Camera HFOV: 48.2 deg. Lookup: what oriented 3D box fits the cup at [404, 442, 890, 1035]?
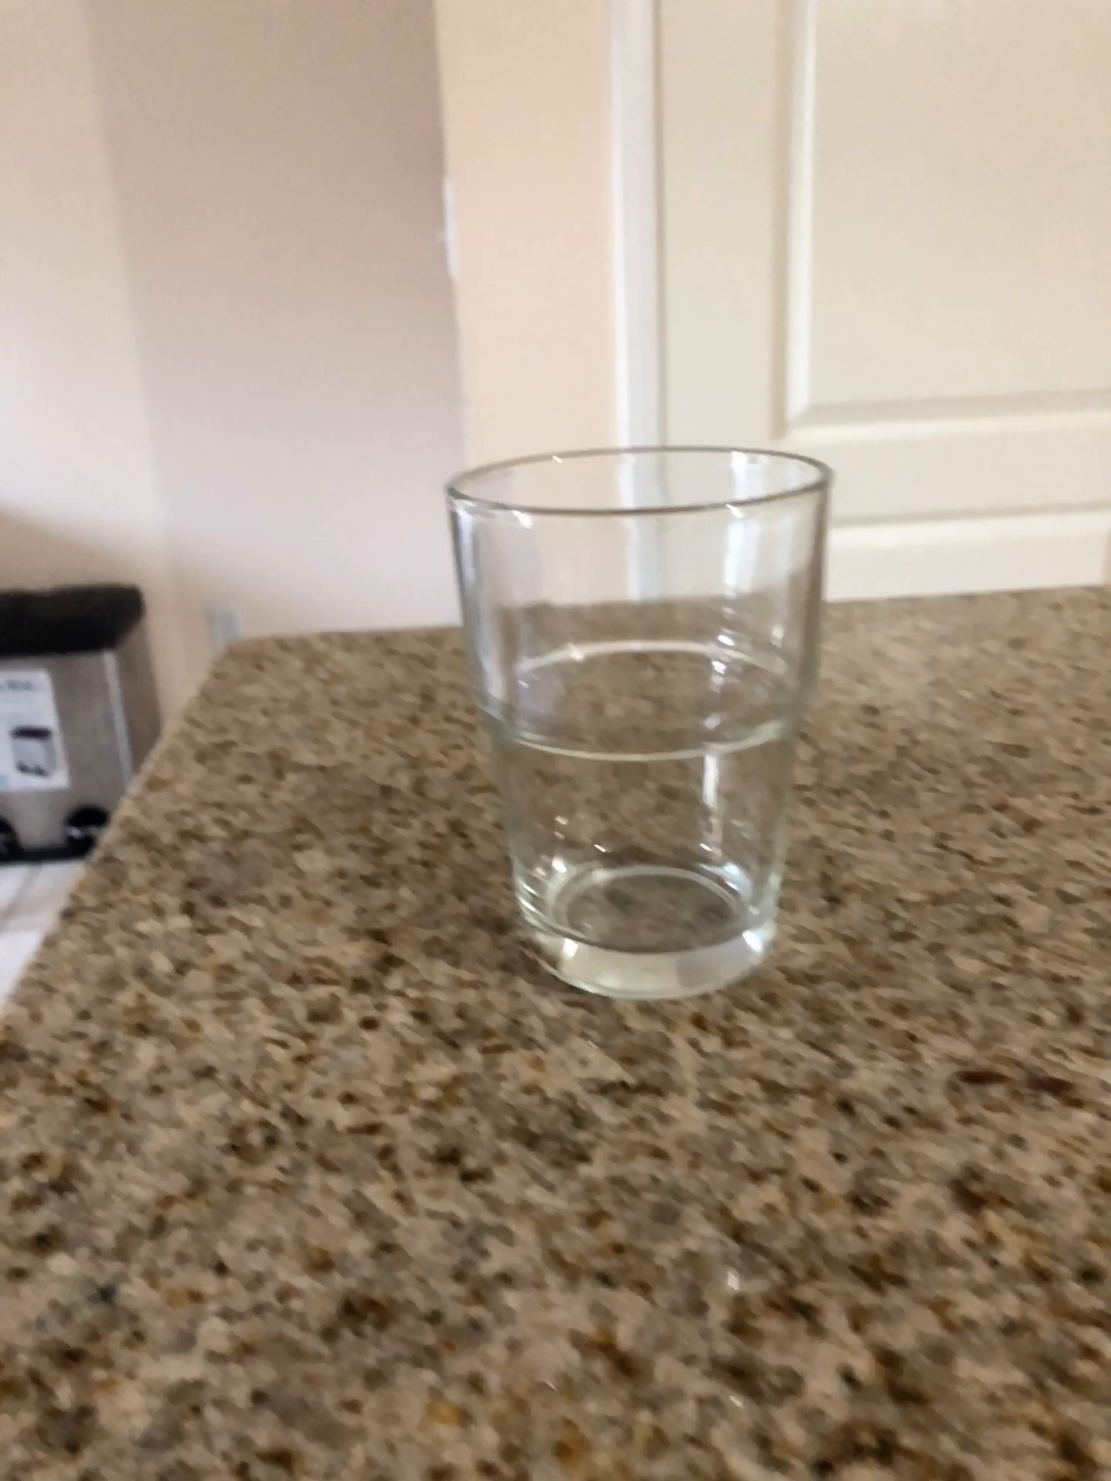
[{"bbox_3d":[0.021,-0.008,0.267,0.070,0.100,0.070,-2,20,1],"label":"cup"}]
